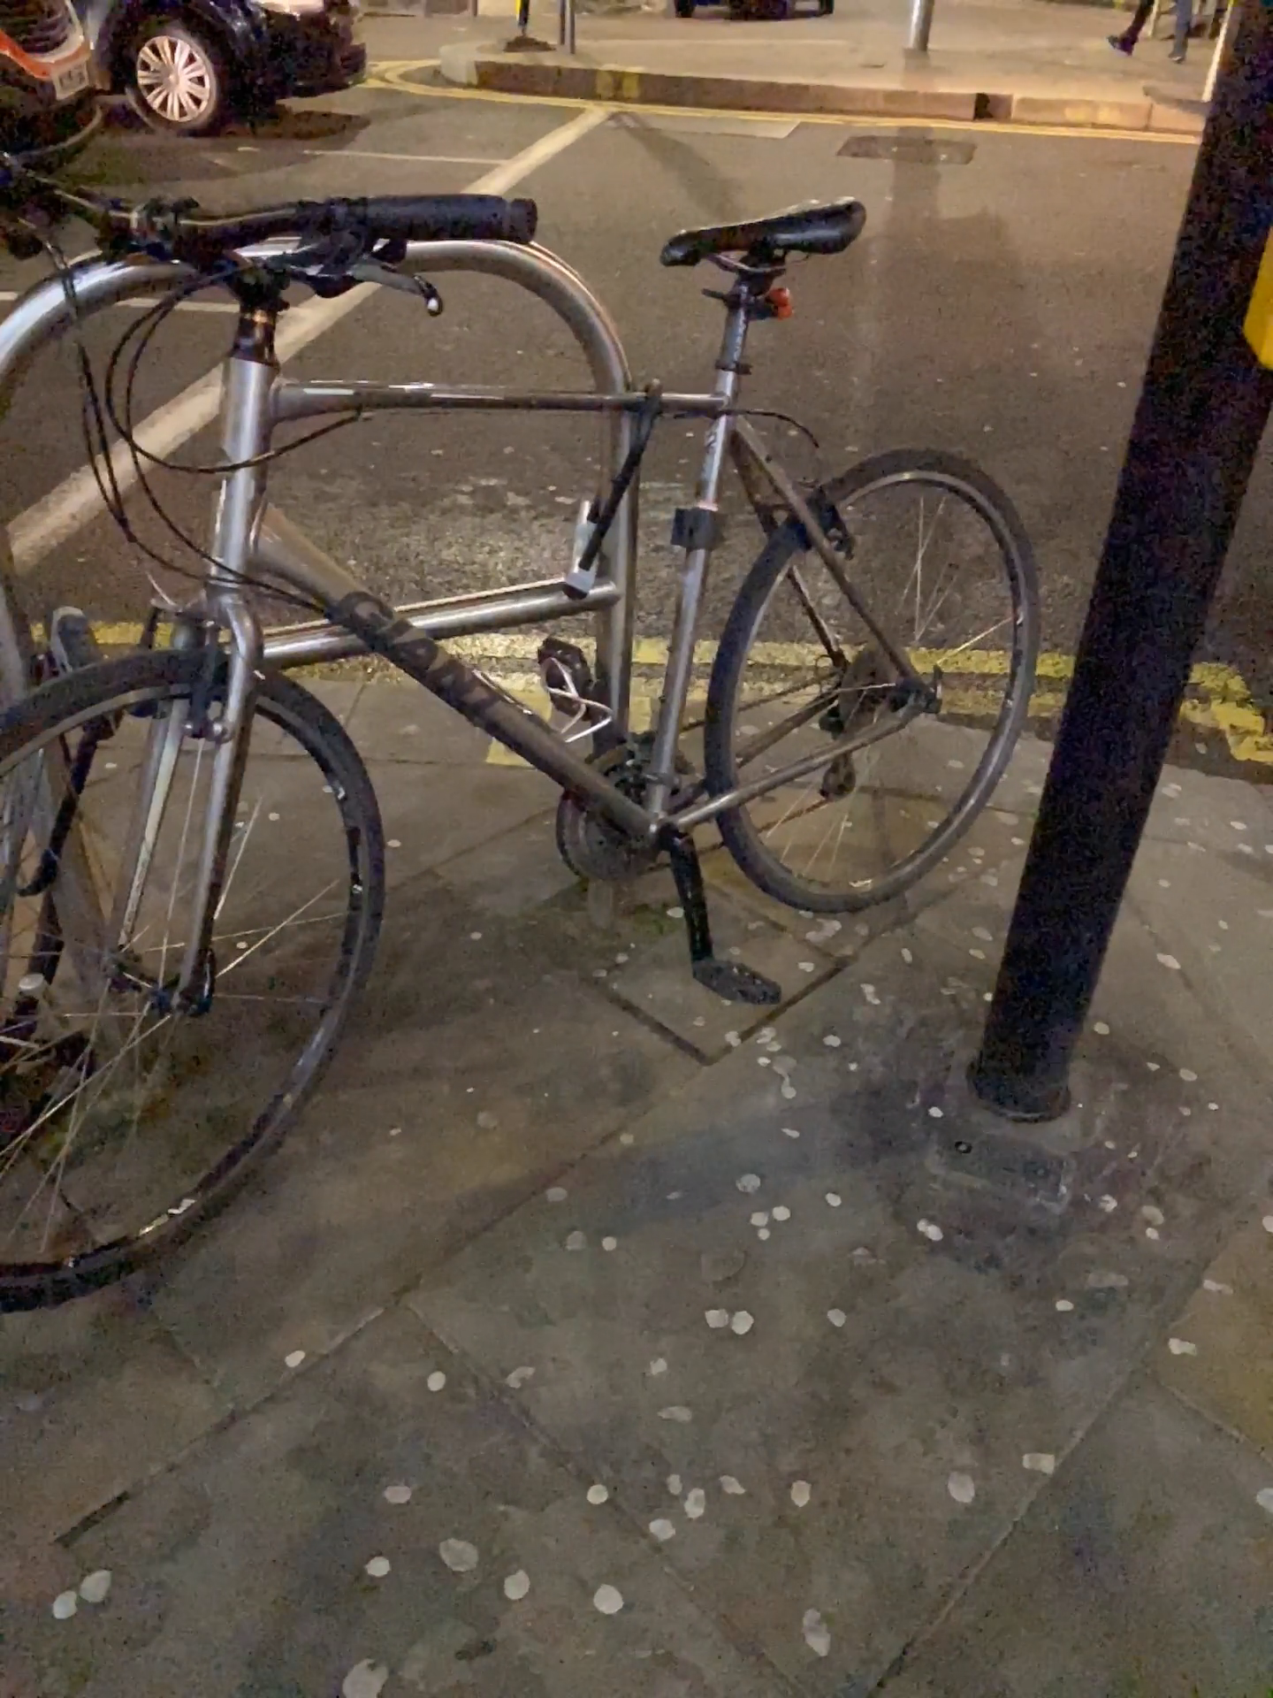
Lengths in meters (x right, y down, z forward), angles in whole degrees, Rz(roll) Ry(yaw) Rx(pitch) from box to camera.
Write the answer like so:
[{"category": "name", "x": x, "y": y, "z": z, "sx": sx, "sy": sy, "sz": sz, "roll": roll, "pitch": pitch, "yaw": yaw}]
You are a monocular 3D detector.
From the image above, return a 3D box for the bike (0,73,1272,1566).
[{"category": "bike", "x": -0.120, "y": -0.270, "z": 1.617, "sx": 1.824, "sy": 1.124, "sz": 0.710, "roll": -26, "pitch": 44, "yaw": -34}]
